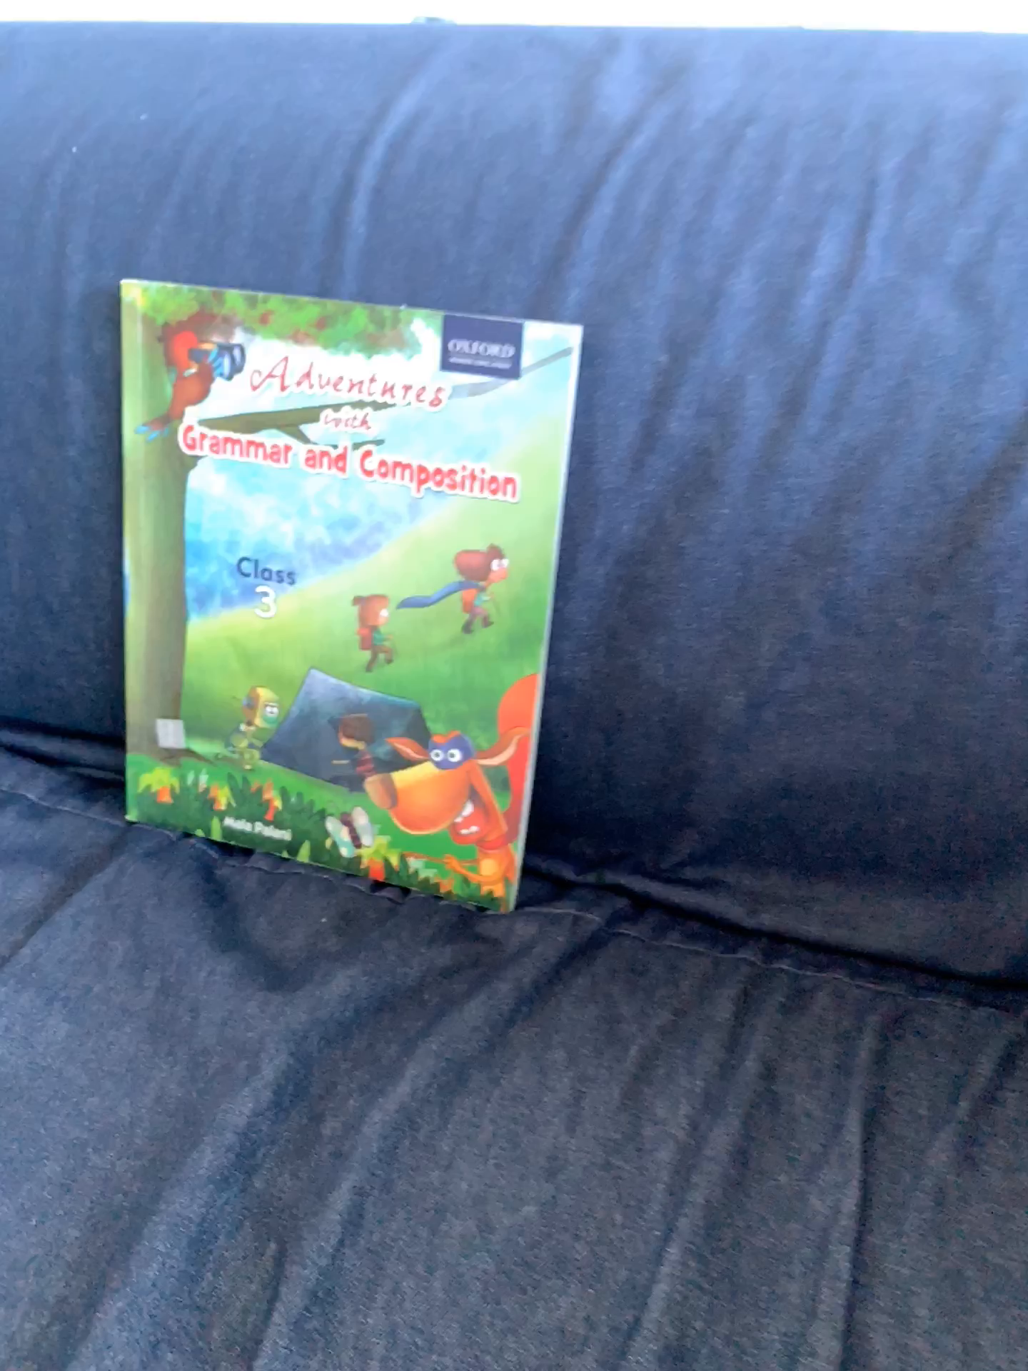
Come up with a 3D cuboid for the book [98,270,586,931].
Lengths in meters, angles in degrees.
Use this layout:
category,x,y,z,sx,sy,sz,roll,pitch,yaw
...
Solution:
category,x,y,z,sx,sy,sz,roll,pitch,yaw
book,-0.088,-0.038,0.488,0.212,0.269,0.030,11,20,16
